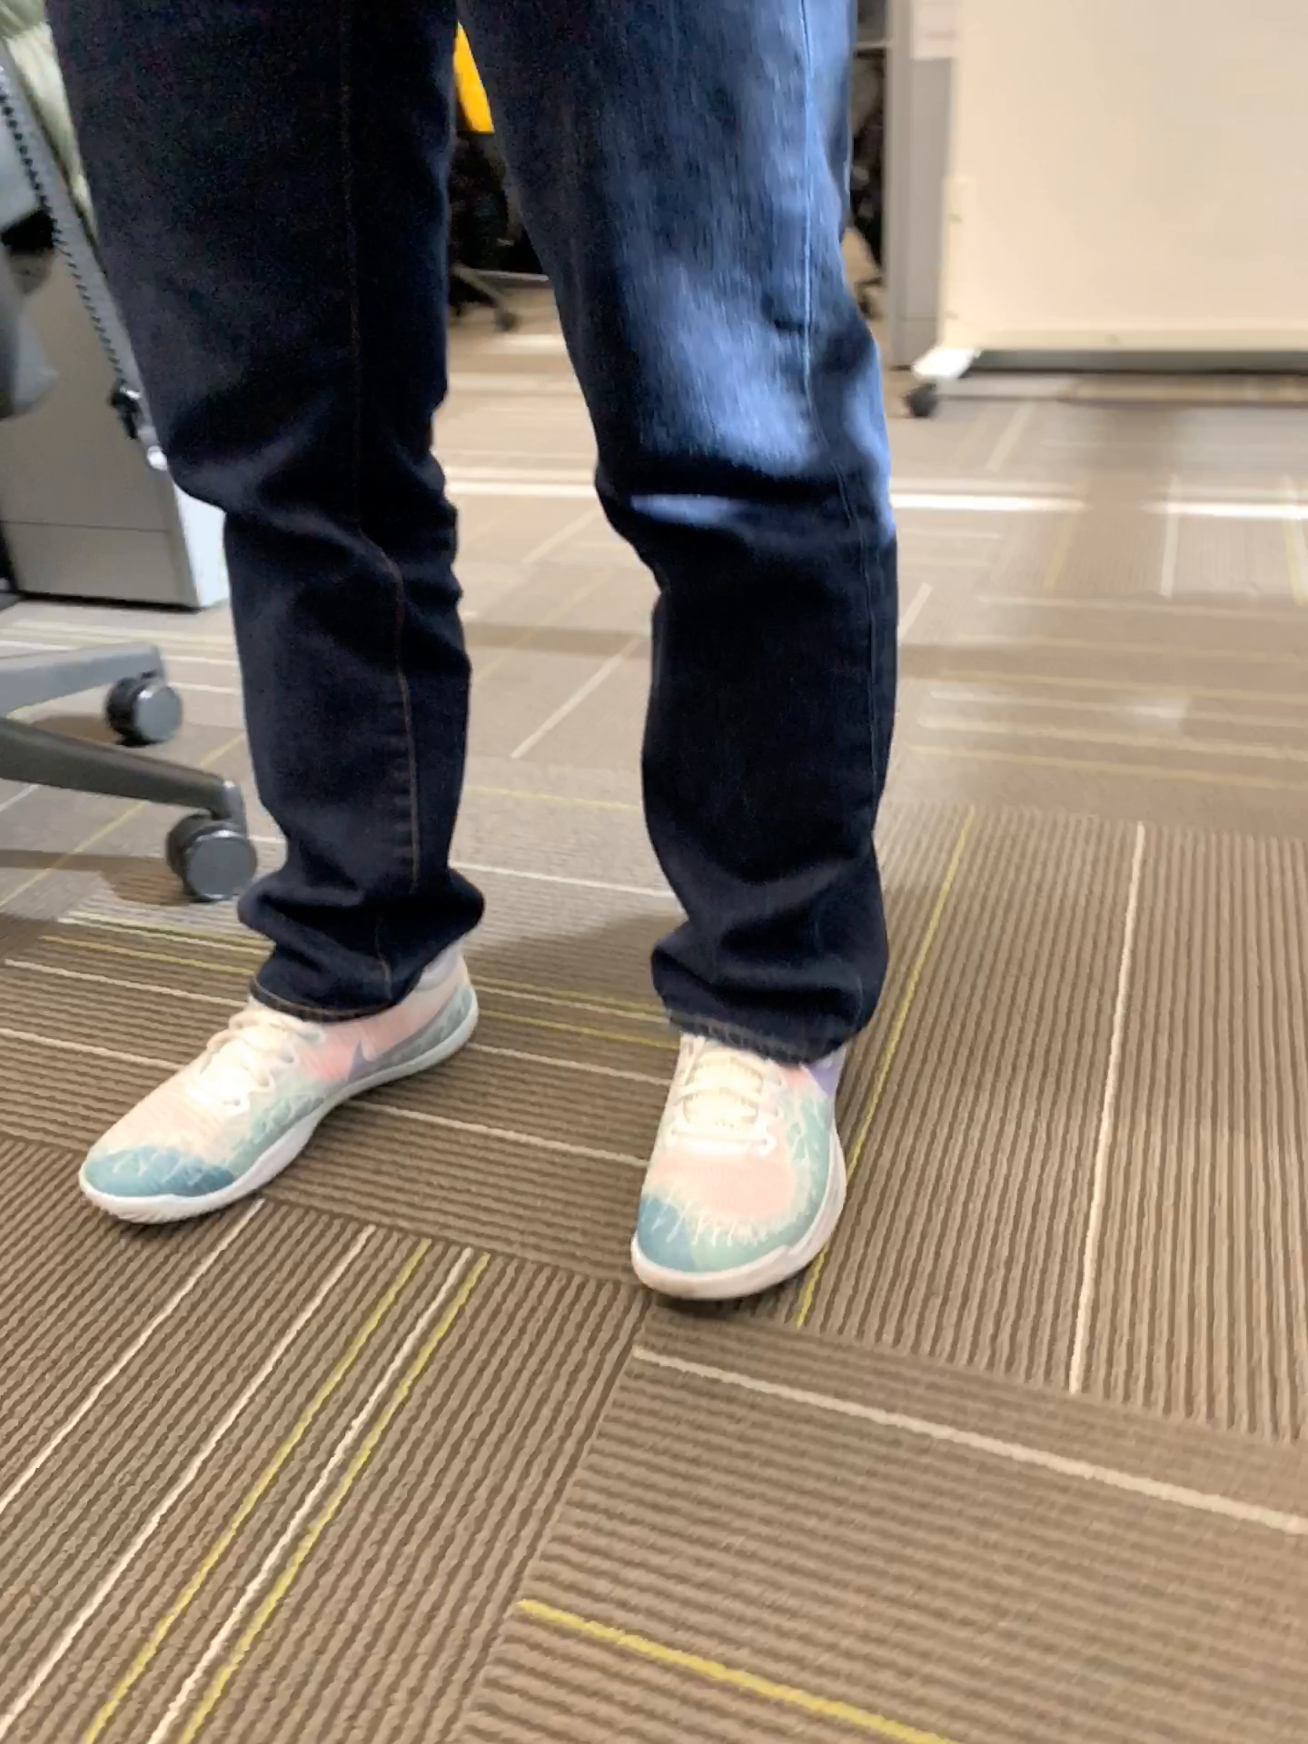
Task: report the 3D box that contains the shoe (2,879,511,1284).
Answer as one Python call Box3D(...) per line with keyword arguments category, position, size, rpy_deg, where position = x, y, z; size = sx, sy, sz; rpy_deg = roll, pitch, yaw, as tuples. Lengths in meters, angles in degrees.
Box3D(category="shoe", position=(-0.239, 0.118, 0.860), size=(0.118, 0.088, 0.283), rpy_deg=(21, 38, 37))

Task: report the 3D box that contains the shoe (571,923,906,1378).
Box3D(category="shoe", position=(0.064, 0.146, 0.803), size=(0.123, 0.078, 0.291), rpy_deg=(6, 31, 18))
